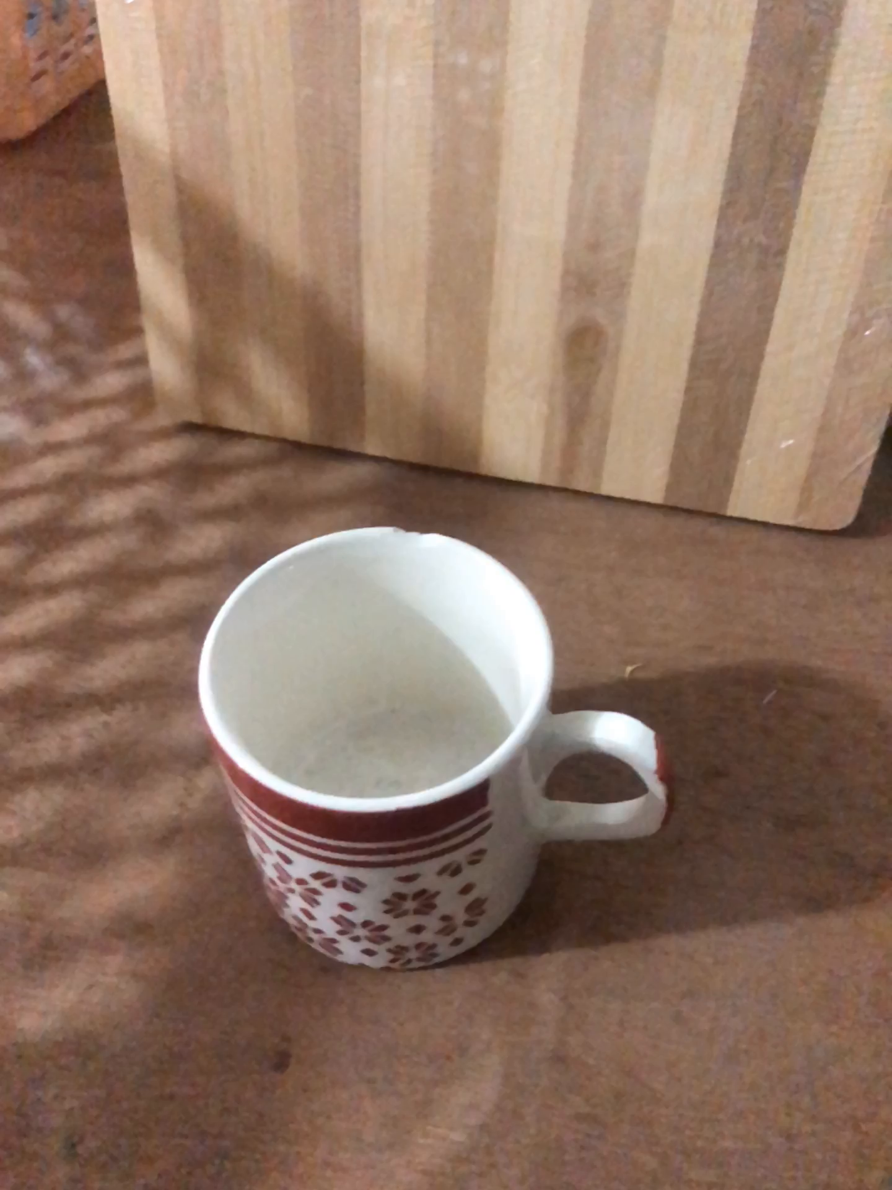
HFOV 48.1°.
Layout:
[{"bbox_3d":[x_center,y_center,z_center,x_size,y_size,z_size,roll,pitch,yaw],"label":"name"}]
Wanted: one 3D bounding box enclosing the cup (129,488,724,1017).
[{"bbox_3d":[0.002,0.031,0.198,0.090,0.070,0.070,4,49,7],"label":"cup"}]
